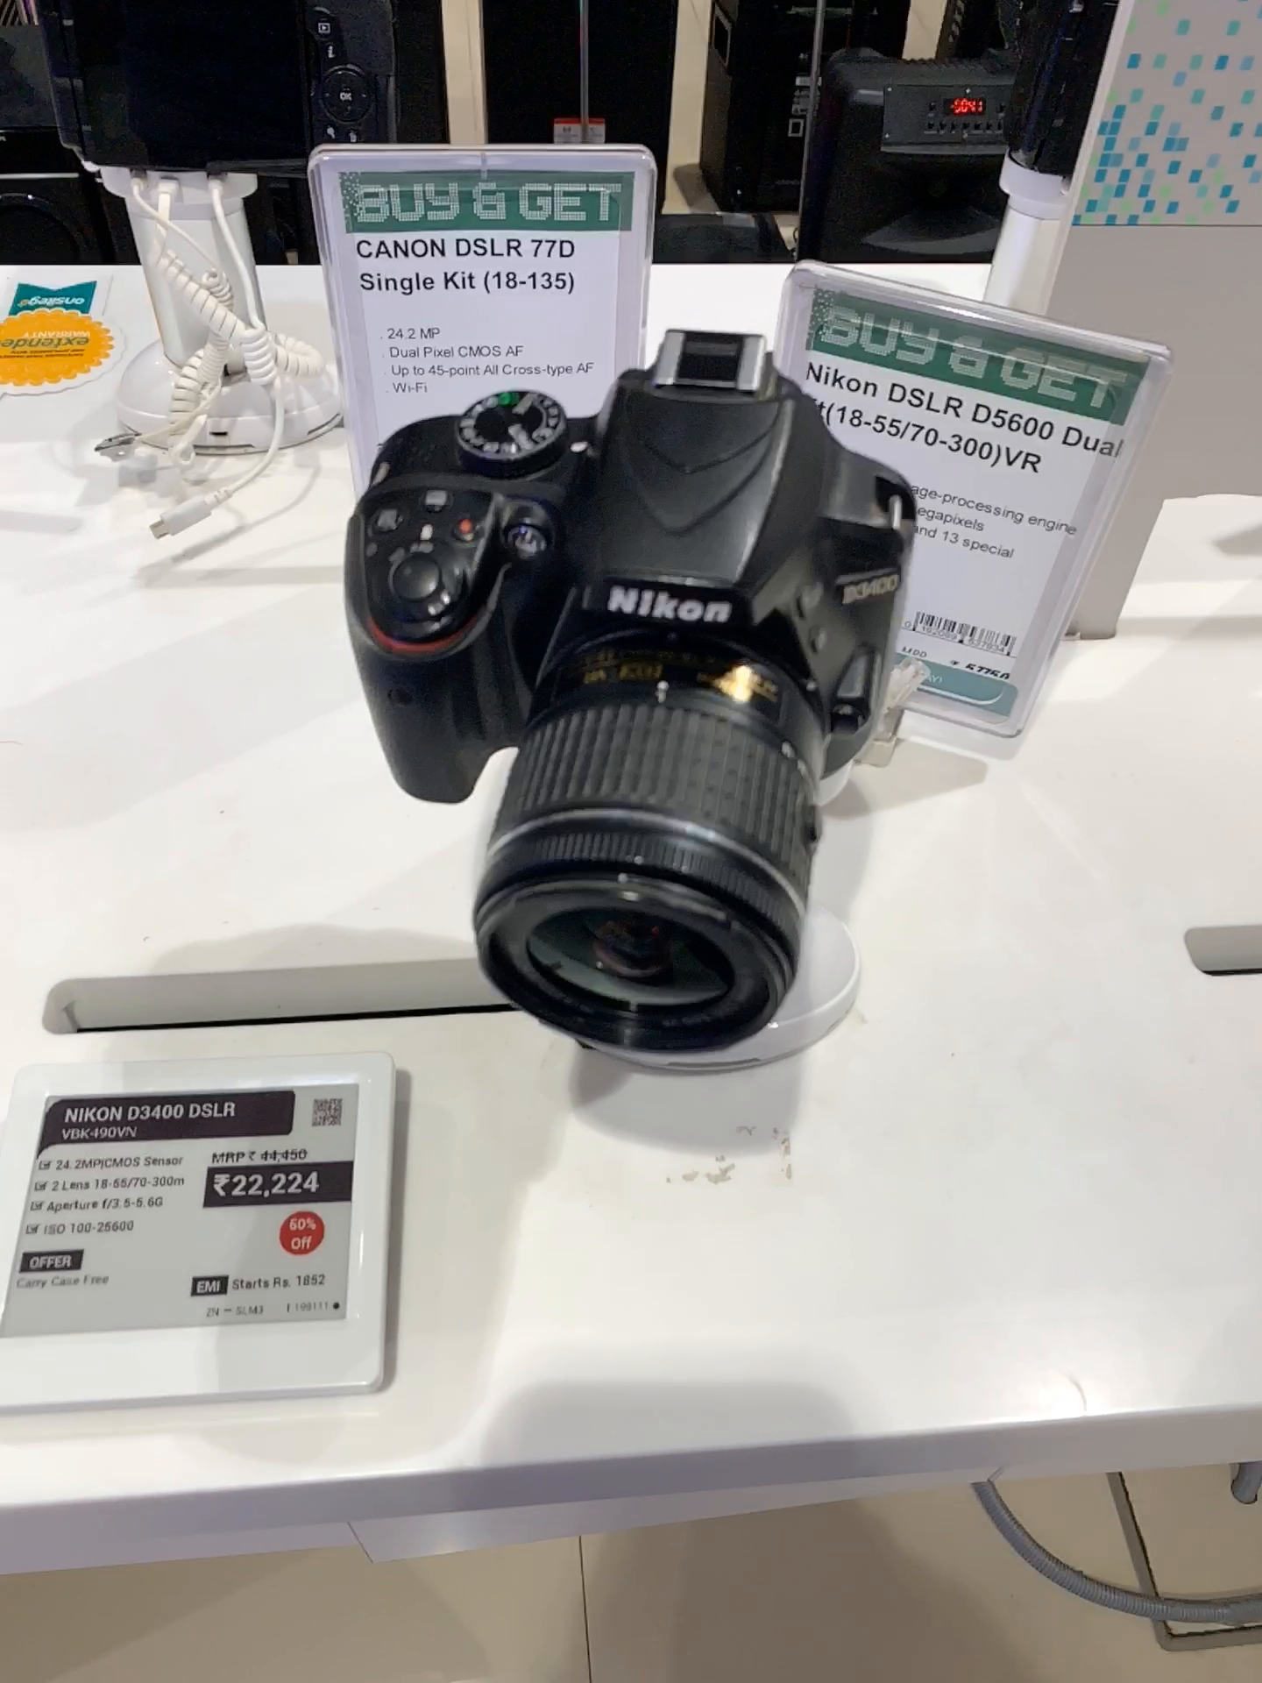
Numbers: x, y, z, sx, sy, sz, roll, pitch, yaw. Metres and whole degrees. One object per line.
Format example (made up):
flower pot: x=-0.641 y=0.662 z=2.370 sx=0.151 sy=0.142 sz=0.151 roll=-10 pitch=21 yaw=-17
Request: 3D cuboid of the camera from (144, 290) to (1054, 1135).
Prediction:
camera: x=0.001 y=-0.027 z=0.237 sx=0.120 sy=0.080 sz=0.120 roll=7 pitch=51 yaw=3
